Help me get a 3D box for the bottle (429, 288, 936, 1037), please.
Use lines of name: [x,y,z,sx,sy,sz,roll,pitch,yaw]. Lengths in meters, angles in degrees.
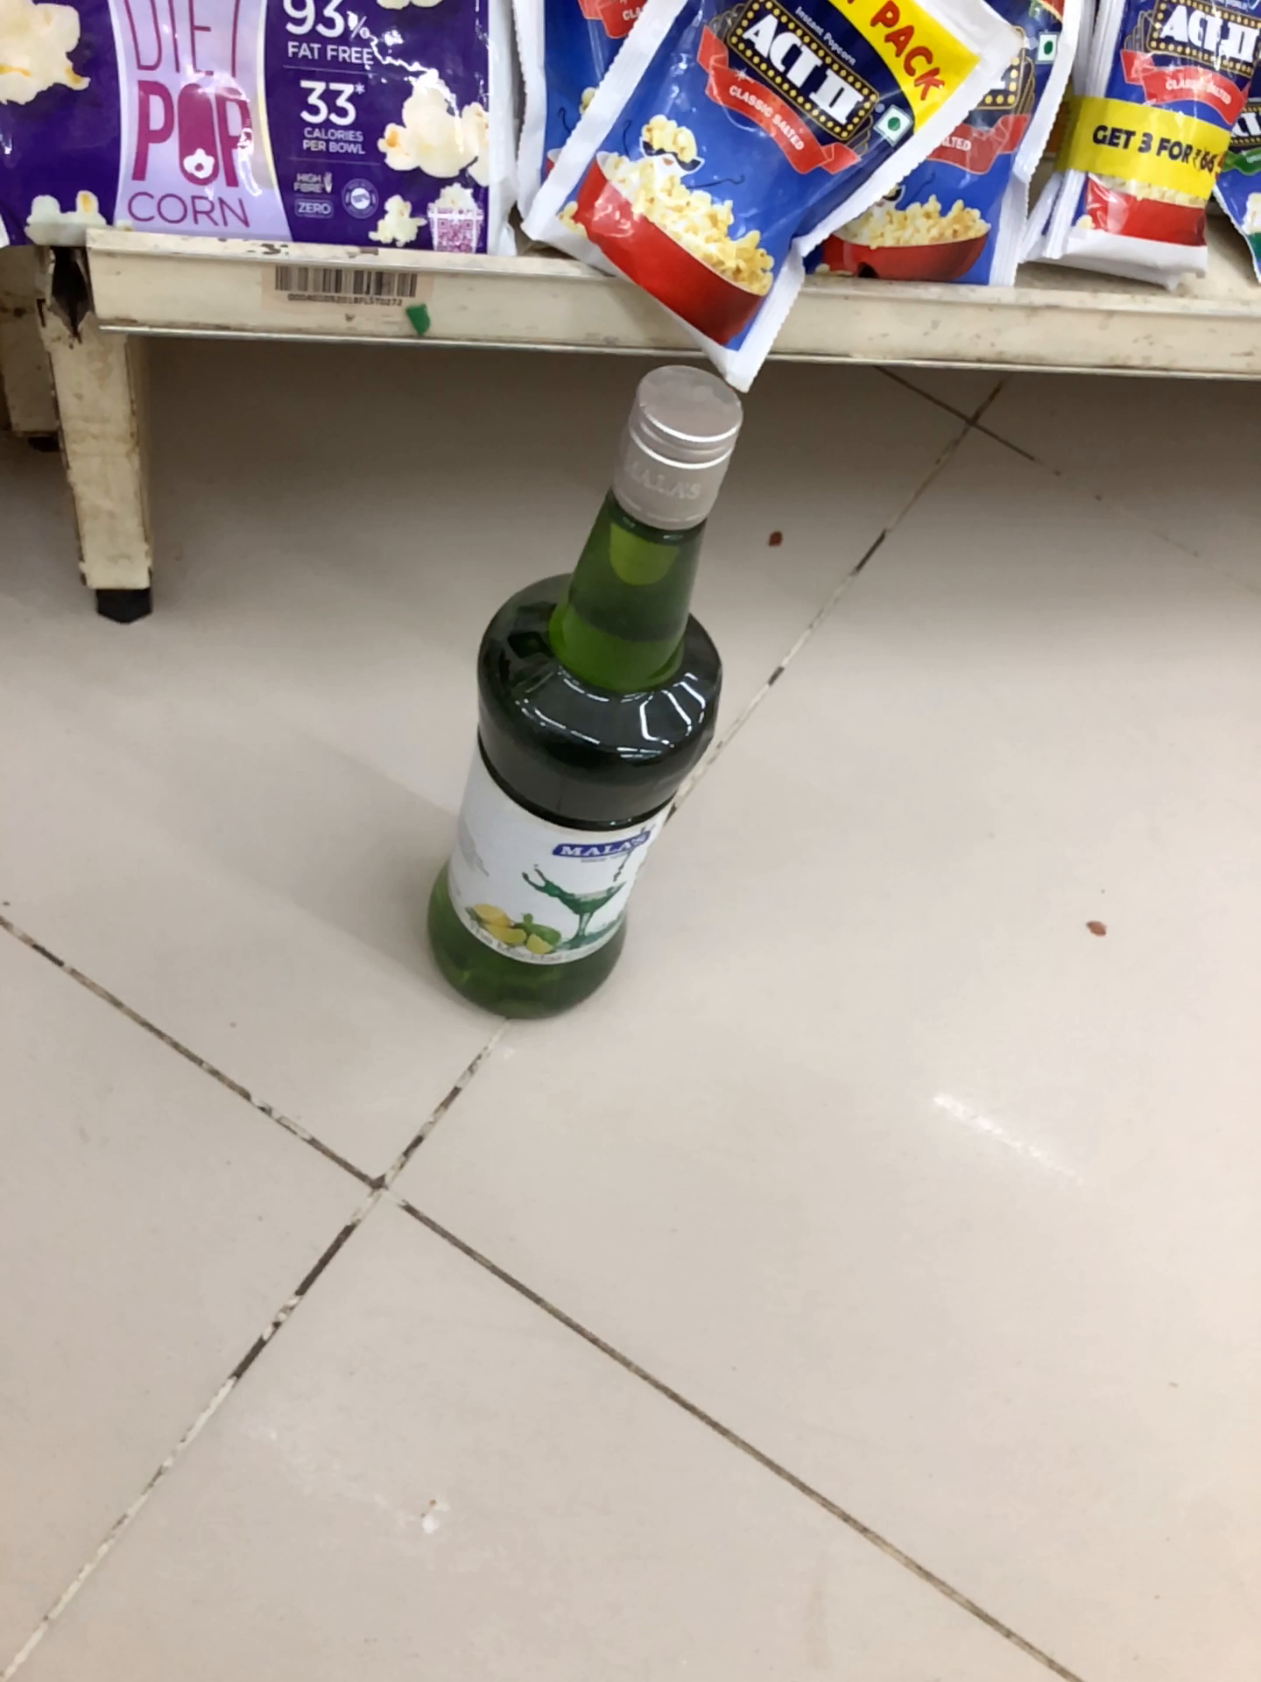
bottle: [-0.005,-0.038,0.473,0.090,0.279,0.090,6,57,-10]
